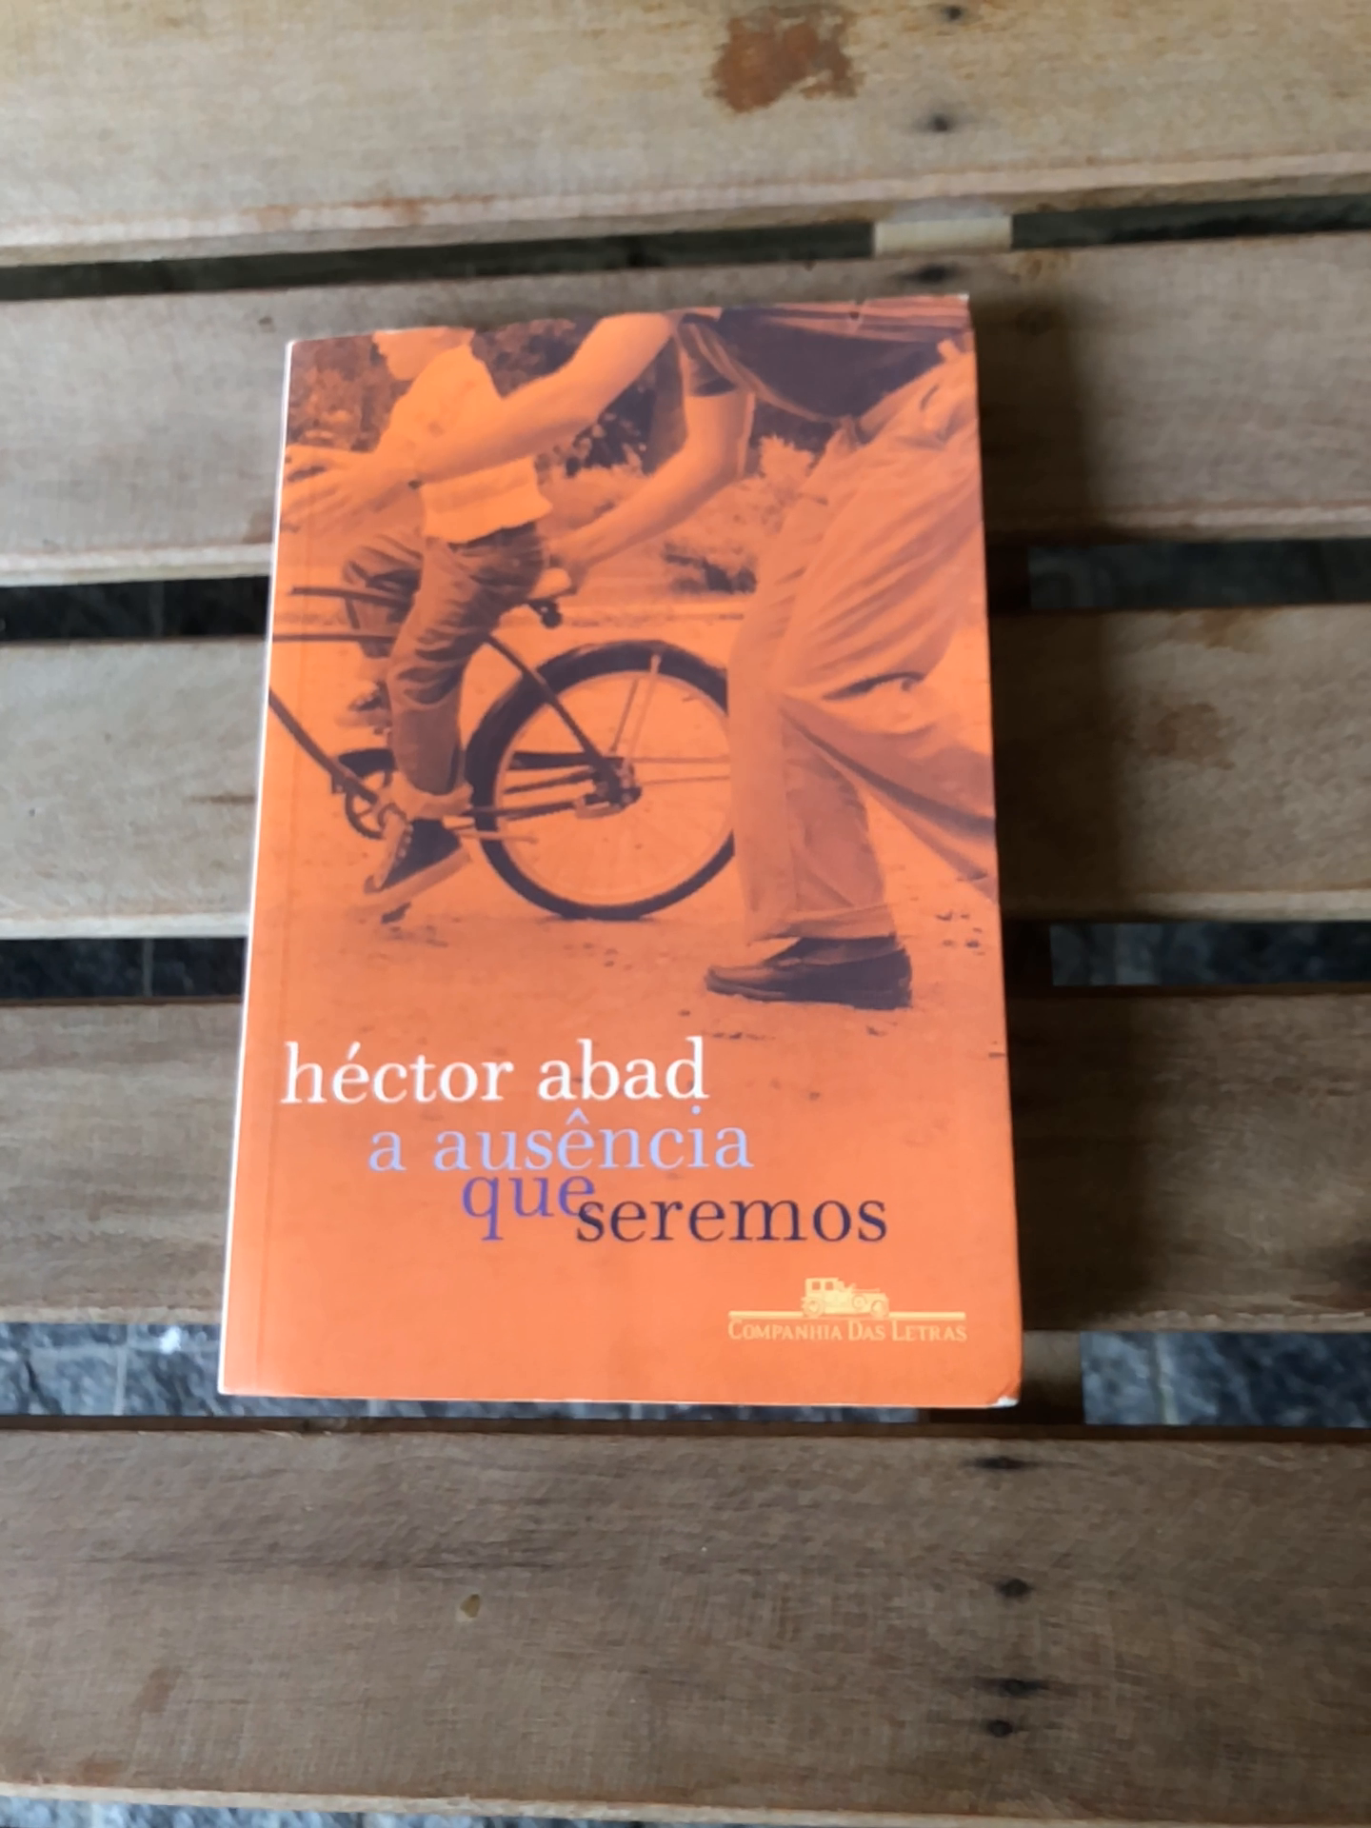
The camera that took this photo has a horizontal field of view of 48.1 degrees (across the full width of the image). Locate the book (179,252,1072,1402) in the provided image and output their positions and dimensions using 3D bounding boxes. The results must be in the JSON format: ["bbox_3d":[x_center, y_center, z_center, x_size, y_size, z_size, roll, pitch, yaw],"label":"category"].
[{"bbox_3d":[-0.010,-0.019,0.275,0.142,0.020,0.200,-1,77,6],"label":"book"}]
